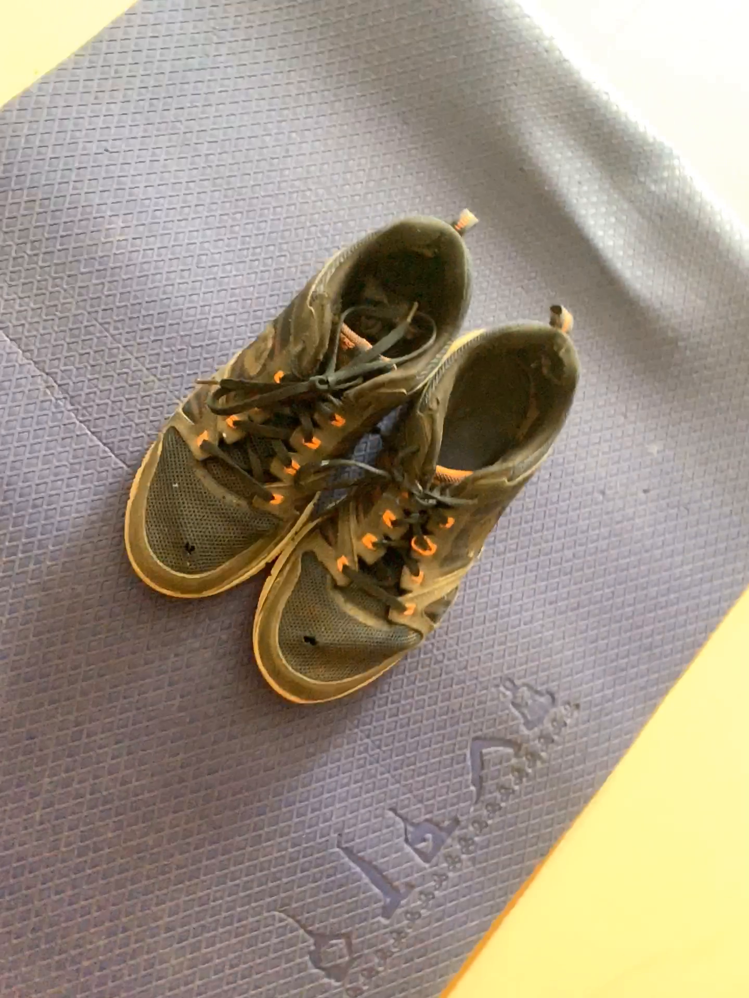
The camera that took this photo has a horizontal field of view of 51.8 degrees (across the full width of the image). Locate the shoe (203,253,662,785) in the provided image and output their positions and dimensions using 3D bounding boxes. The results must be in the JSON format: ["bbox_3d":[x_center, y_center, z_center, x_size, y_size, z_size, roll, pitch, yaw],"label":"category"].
[{"bbox_3d":[0.036,0.008,0.498,0.110,0.100,0.310,38,79,-3],"label":"shoe"}]

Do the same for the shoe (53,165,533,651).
[{"bbox_3d":[-0.049,-0.061,0.516,0.100,0.100,0.320,44,78,-9],"label":"shoe"}]
